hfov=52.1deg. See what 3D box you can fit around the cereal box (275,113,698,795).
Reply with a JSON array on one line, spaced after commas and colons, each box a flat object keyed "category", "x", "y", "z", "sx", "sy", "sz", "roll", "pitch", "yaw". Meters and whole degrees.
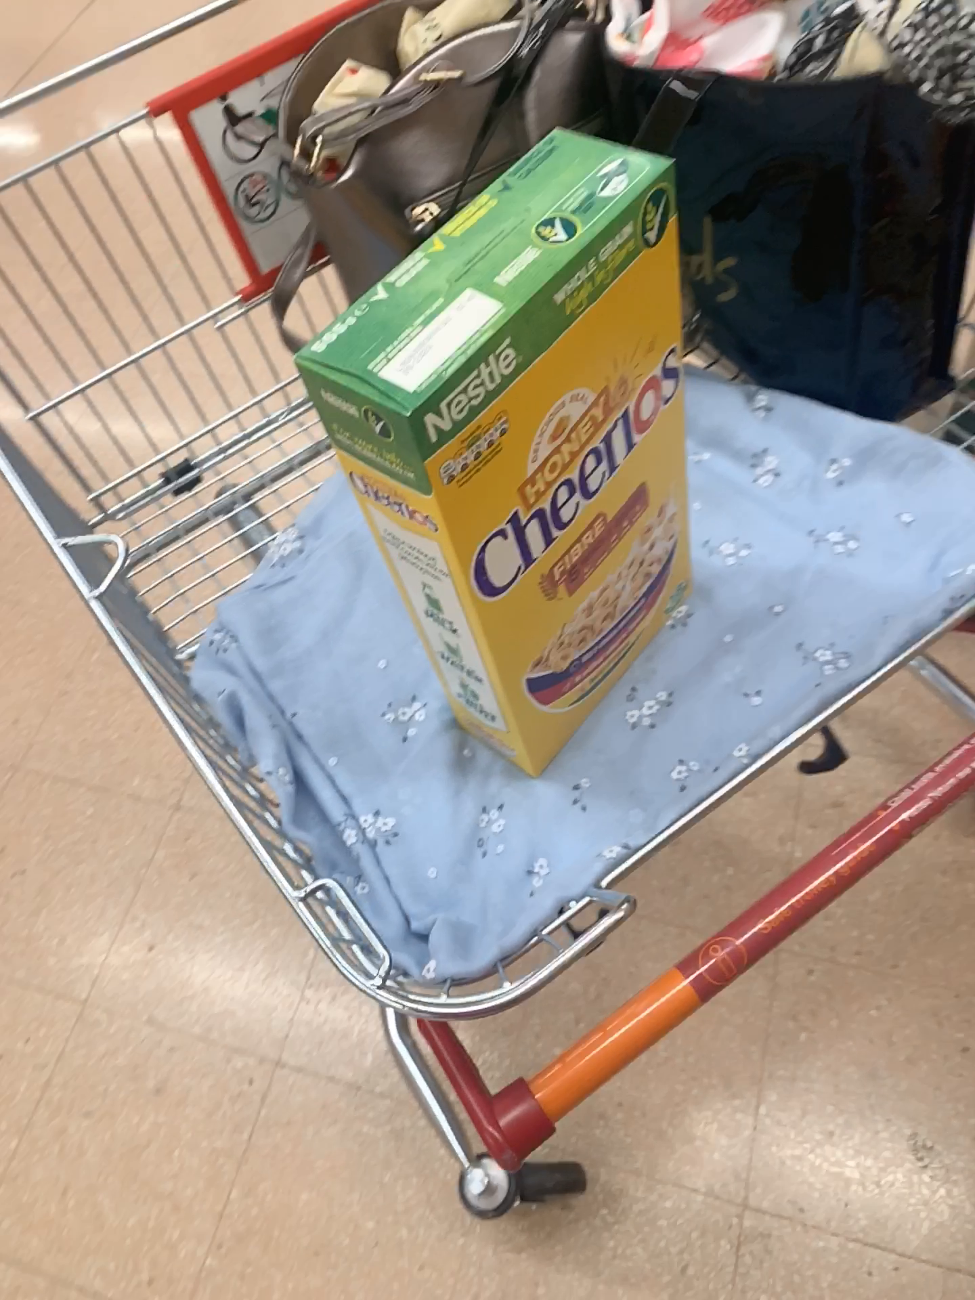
[{"category": "cereal box", "x": 0.033, "y": -0.088, "z": 0.598, "sx": 0.080, "sy": 0.347, "sz": 0.211, "roll": 31, "pitch": 67, "yaw": 28}]
